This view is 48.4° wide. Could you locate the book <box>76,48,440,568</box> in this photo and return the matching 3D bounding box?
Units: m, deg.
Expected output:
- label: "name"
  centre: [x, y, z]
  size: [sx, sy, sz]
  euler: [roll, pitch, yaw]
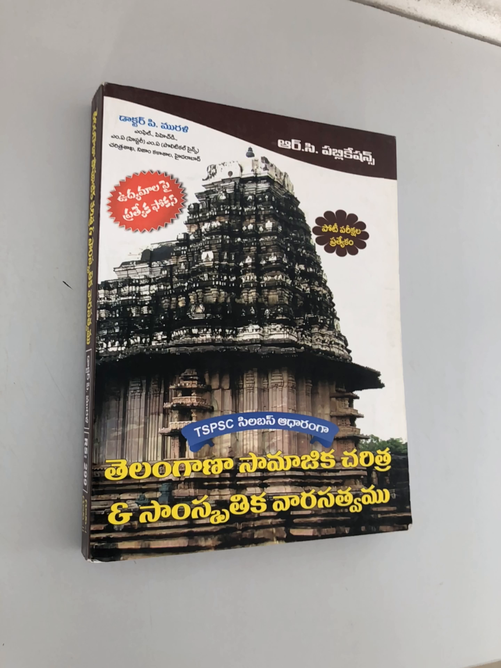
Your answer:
- label: "book"
  centre: [0.007, -0.013, 0.295]
  size: [0.180, 0.040, 0.230]
  euler: [3, 81, -22]
